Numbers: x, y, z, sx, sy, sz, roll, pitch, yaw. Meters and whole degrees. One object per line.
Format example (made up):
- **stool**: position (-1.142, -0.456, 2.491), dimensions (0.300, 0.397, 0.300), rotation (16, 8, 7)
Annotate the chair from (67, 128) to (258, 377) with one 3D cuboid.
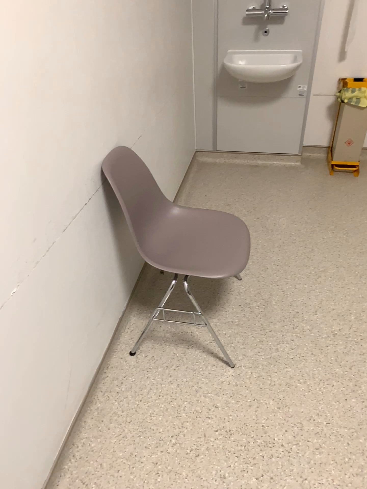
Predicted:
- **chair**: position (-0.010, 0.017, 1.537), dimensions (0.540, 0.782, 0.585), rotation (5, 37, 11)
